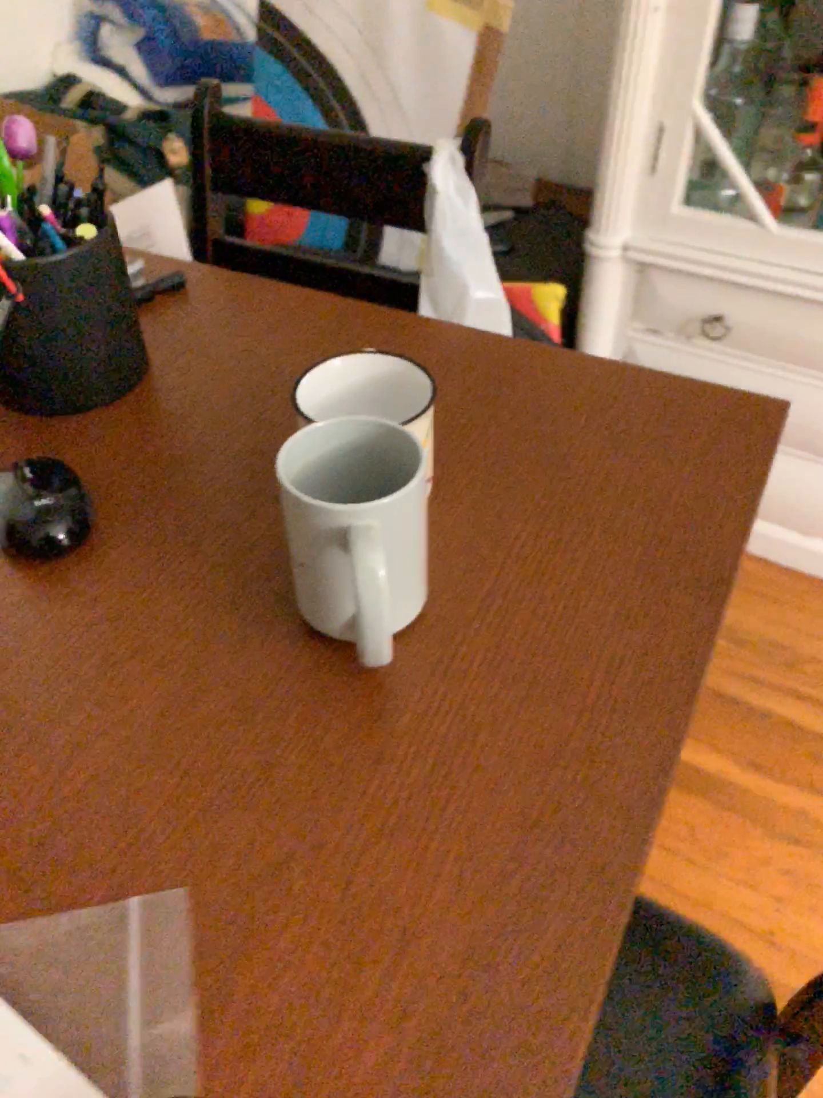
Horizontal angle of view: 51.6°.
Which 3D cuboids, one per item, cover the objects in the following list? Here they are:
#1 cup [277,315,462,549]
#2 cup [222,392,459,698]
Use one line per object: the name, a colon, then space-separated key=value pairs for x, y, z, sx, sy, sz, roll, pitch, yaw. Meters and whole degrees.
cup: x=-0.023 y=-0.085 z=0.603 sx=0.100 sy=0.099 sz=0.131 roll=6 pitch=44 yaw=7
cup: x=-0.031 y=-0.006 z=0.493 sx=0.100 sy=0.099 sz=0.141 roll=5 pitch=44 yaw=7
